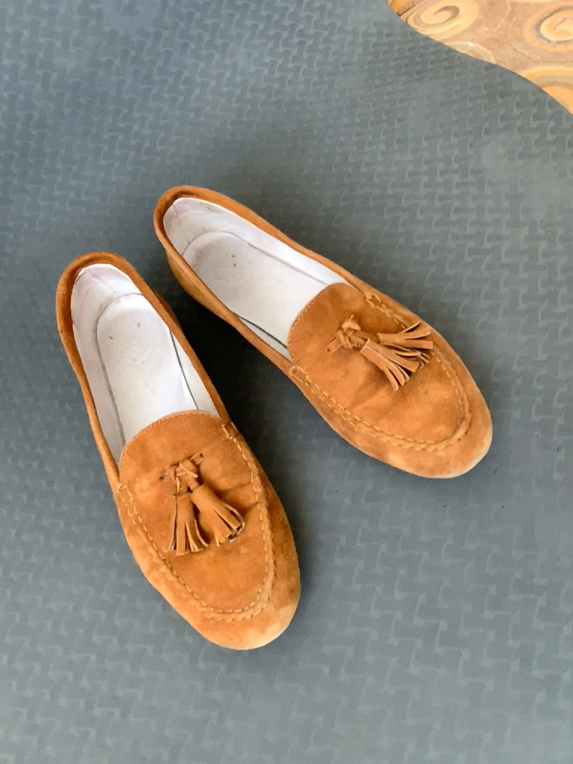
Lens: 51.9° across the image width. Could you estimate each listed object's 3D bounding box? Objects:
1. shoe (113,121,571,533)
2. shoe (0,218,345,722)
[{"bbox_3d":[0.020,-0.038,0.342,0.090,0.090,0.241,-44,64,-9],"label":"shoe"},{"bbox_3d":[-0.068,0.037,0.319,0.090,0.090,0.231,-29,63,-1],"label":"shoe"}]
